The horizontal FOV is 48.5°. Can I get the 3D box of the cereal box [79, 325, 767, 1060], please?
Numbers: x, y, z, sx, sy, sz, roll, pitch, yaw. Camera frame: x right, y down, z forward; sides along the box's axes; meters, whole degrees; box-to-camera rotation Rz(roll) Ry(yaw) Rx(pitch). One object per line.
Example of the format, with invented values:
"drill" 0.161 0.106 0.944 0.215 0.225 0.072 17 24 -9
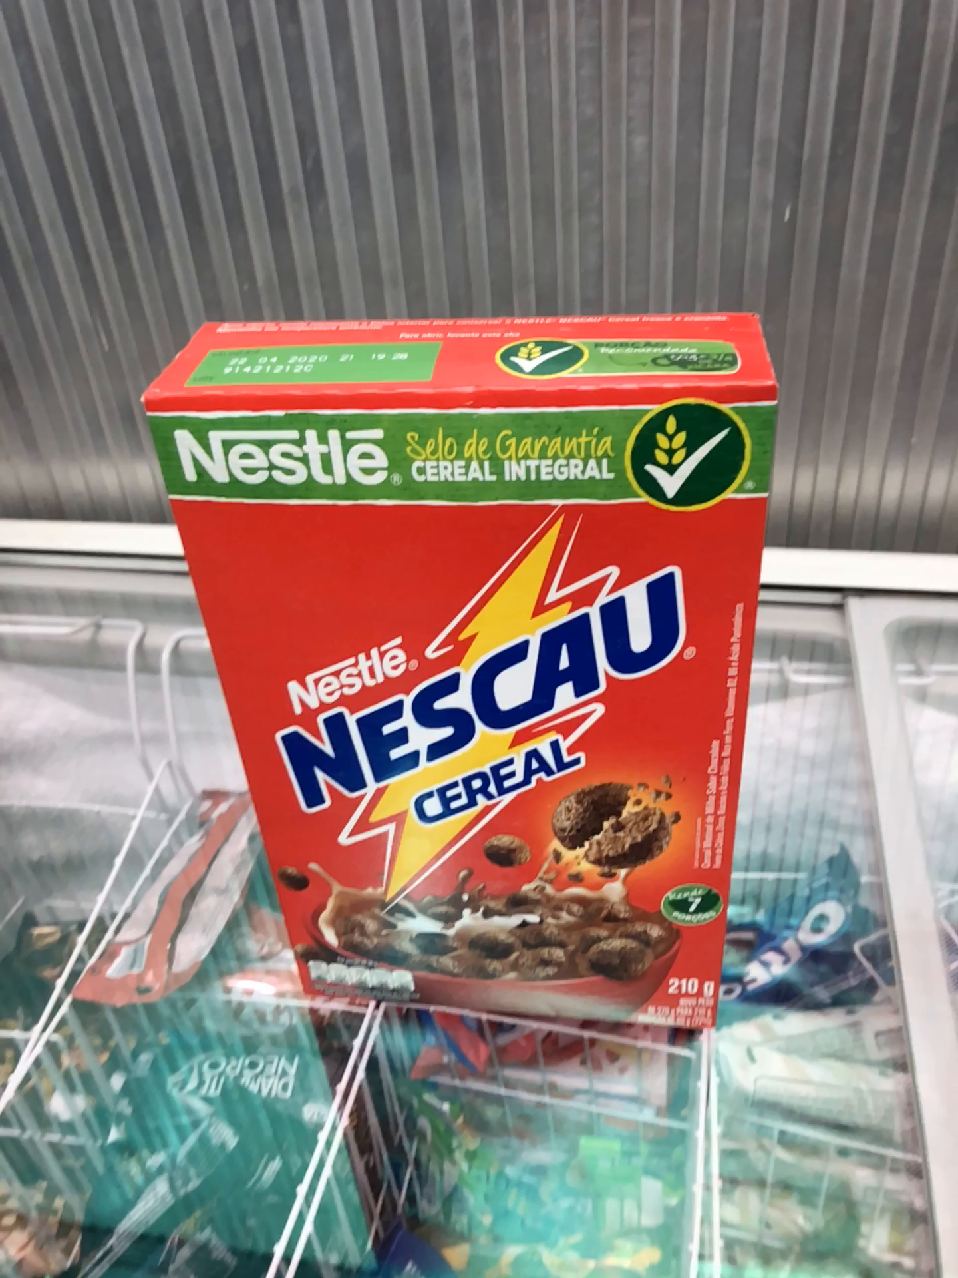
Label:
"cereal box" -0.005 0.033 0.351 0.170 0.258 0.050 2 37 10
